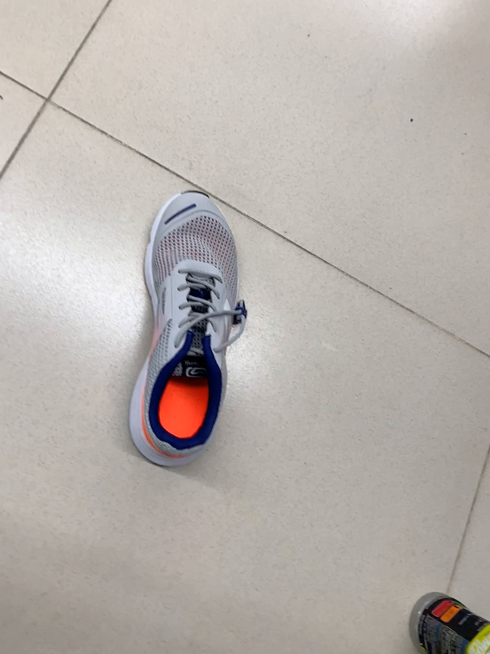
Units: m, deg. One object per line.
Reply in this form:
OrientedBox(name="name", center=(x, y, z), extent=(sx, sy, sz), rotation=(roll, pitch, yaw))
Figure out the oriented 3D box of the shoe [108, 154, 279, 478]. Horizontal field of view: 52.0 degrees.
OrientedBox(name="shoe", center=(-0.049, -0.005, 0.453), extent=(0.100, 0.100, 0.250), rotation=(10, 81, -17))
